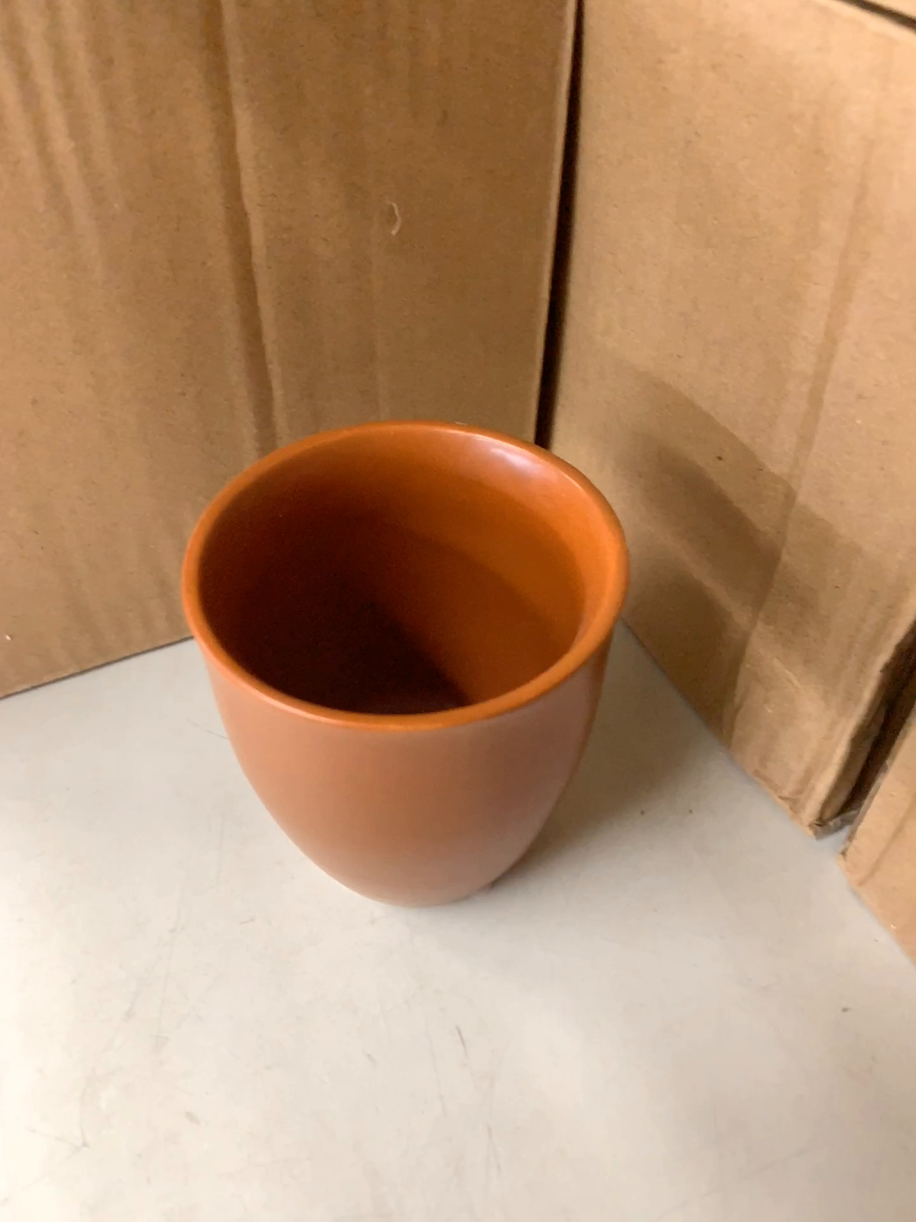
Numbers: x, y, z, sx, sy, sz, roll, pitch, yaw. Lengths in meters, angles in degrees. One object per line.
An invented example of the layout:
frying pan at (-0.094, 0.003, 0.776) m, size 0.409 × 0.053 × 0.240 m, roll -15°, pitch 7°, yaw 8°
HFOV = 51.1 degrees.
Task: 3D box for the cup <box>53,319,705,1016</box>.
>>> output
cup at (-0.008, 0.009, 0.171) m, size 0.070 × 0.079 × 0.070 m, roll -1°, pitch 47°, yaw 1°
